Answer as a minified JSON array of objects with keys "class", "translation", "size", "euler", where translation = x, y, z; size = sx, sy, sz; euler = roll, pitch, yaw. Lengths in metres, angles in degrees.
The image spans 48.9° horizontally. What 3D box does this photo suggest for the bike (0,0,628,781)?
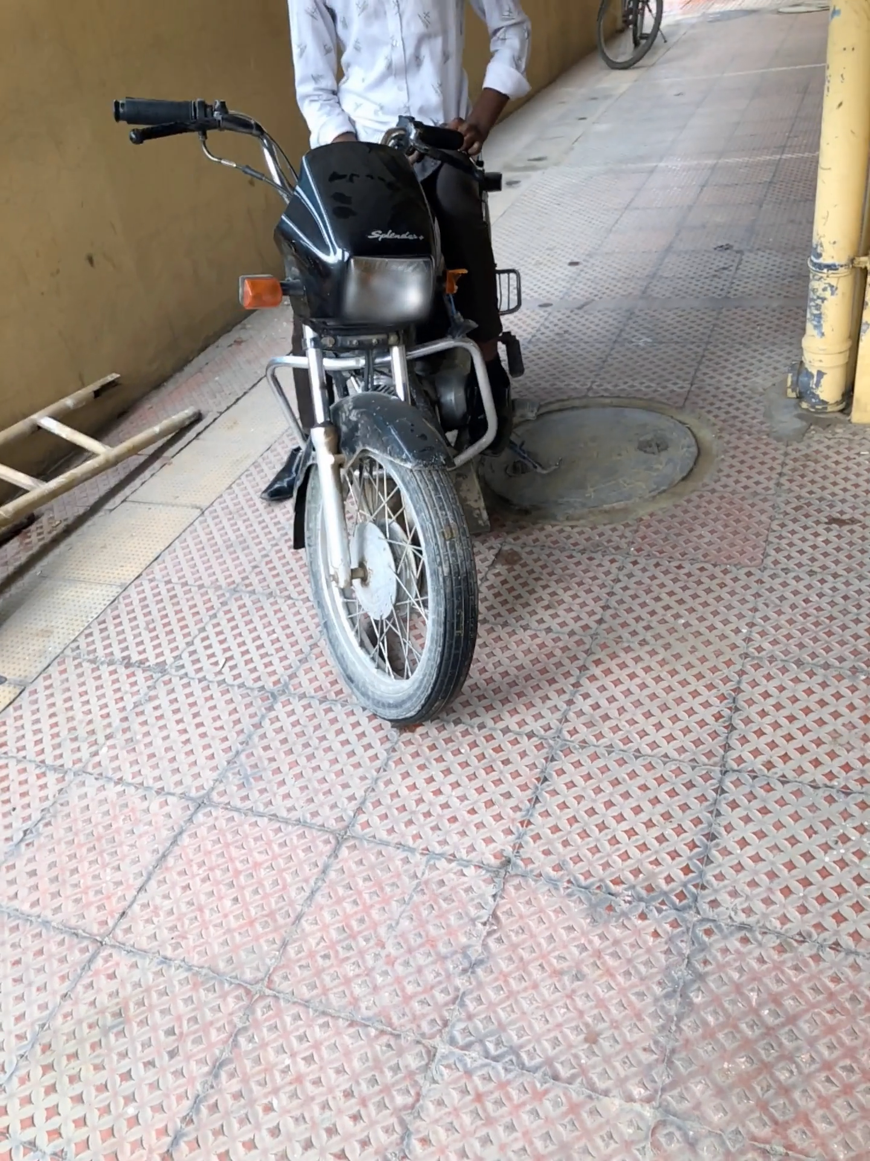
[{"class":"bike","translation":[-0.054,-0.559,2.033],"size":[0.759,0.974,1.607],"euler":[-4,38,9]}]
